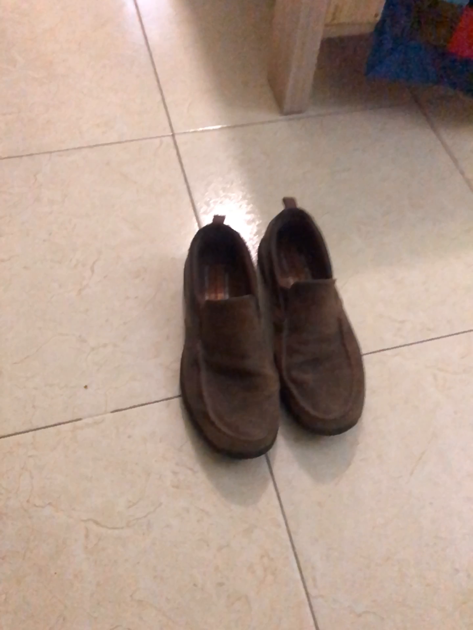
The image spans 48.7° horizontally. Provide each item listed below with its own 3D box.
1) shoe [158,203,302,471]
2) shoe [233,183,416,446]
[{"bbox_3d":[-0.019,0.017,0.631,0.120,0.100,0.301,-6,61,-7],"label":"shoe"},{"bbox_3d":[0.090,-0.010,0.644,0.130,0.100,0.301,-8,61,-8],"label":"shoe"}]
